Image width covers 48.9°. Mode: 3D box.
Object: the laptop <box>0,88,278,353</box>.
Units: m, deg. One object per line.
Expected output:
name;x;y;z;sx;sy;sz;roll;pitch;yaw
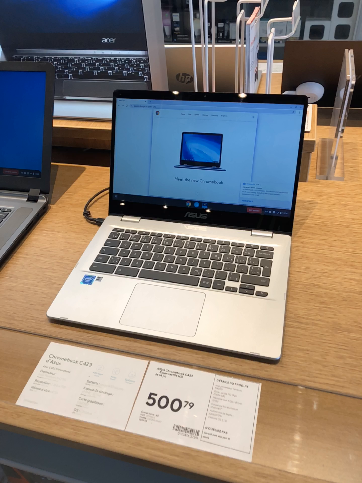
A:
laptop;-0.014;-0.060;0.571;0.281;0.186;0.337;6;42;11
